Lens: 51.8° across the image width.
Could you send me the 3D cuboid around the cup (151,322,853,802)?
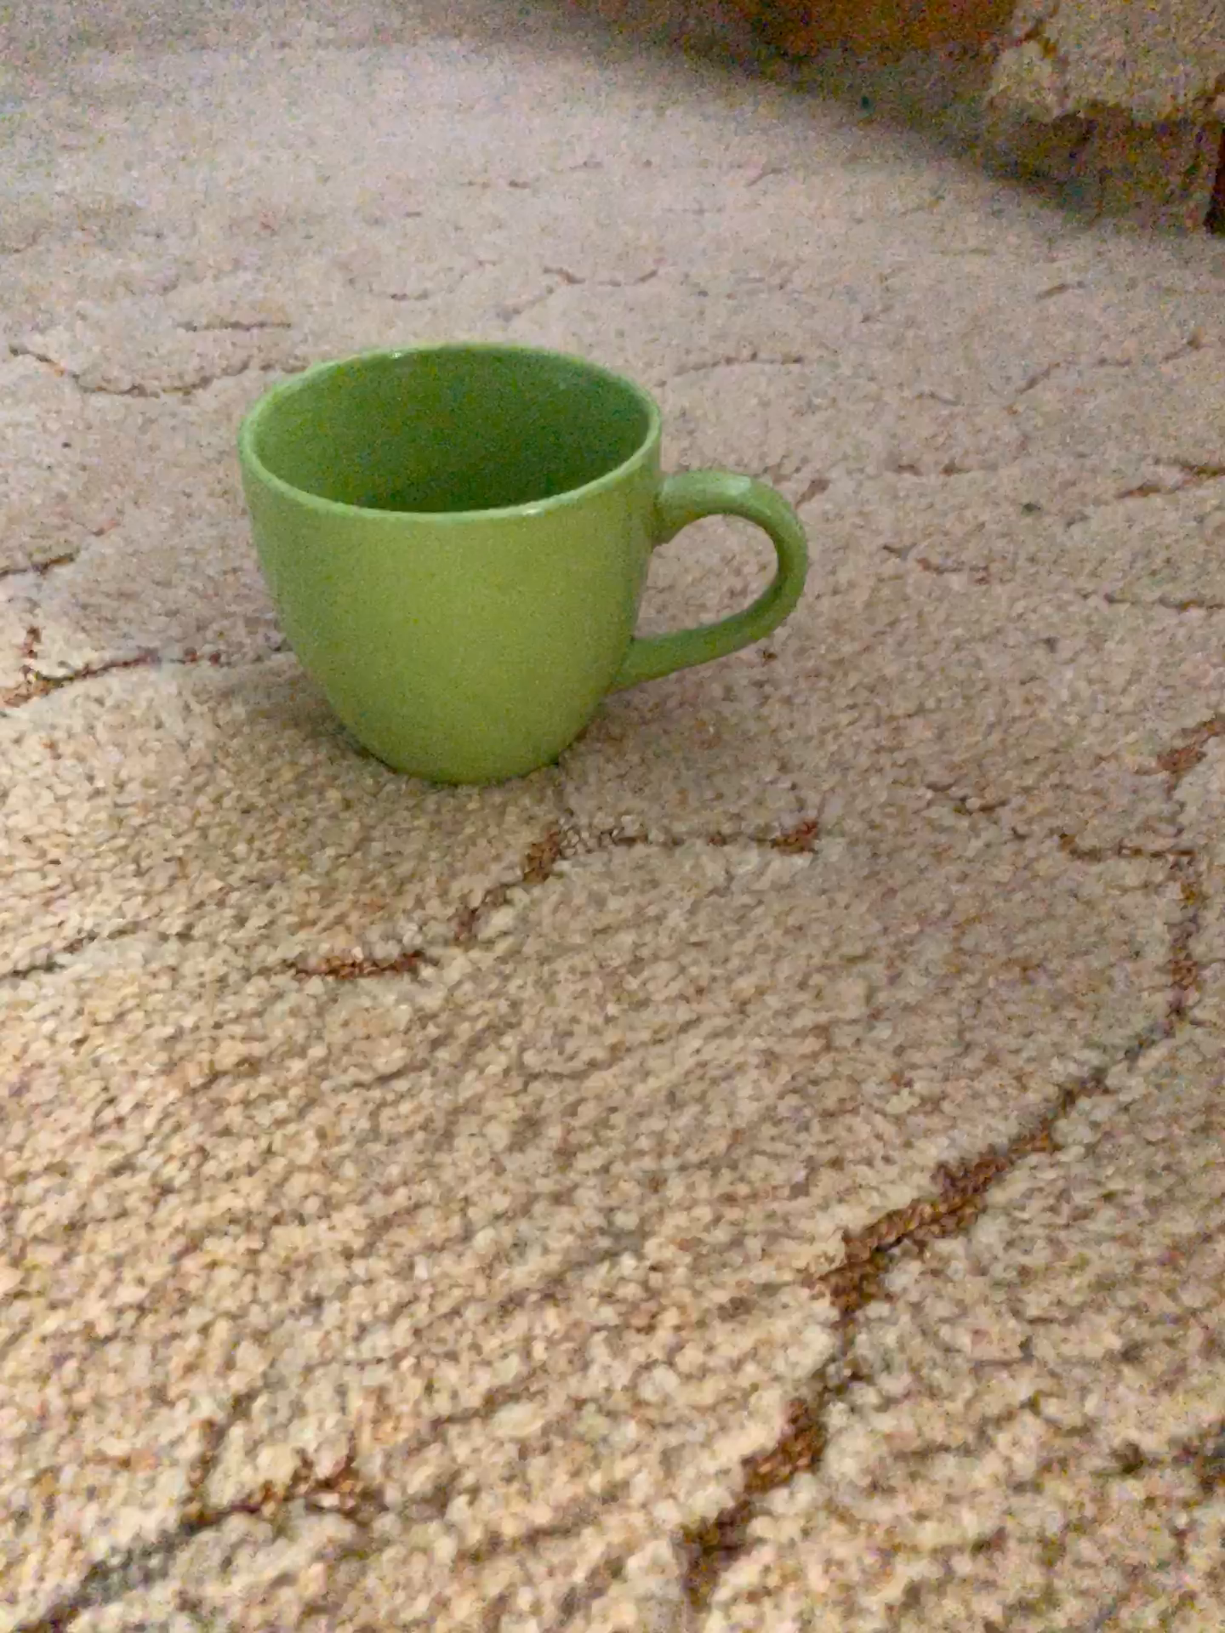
[{"bbox_3d":[-0.016,-0.058,0.267,0.120,0.059,0.091,5,36,4],"label":"cup"}]
